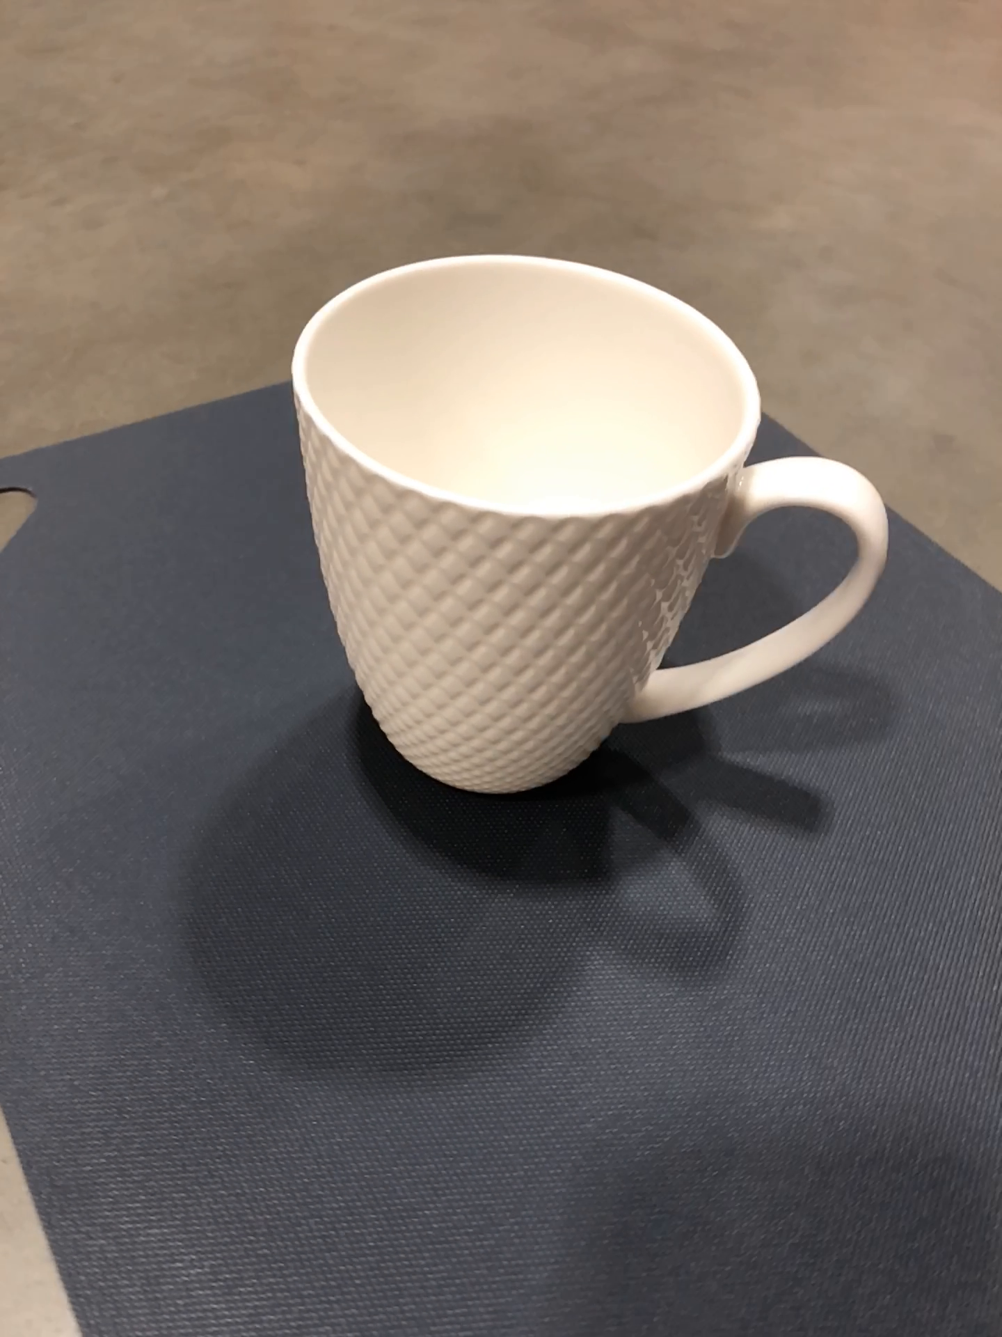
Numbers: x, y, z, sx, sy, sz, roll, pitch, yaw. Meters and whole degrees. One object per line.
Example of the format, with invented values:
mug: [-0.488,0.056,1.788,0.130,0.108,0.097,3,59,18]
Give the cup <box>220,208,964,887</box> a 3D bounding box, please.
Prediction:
cup: [0.022,-0.030,0.253,0.130,0.090,0.090,14,46,8]
